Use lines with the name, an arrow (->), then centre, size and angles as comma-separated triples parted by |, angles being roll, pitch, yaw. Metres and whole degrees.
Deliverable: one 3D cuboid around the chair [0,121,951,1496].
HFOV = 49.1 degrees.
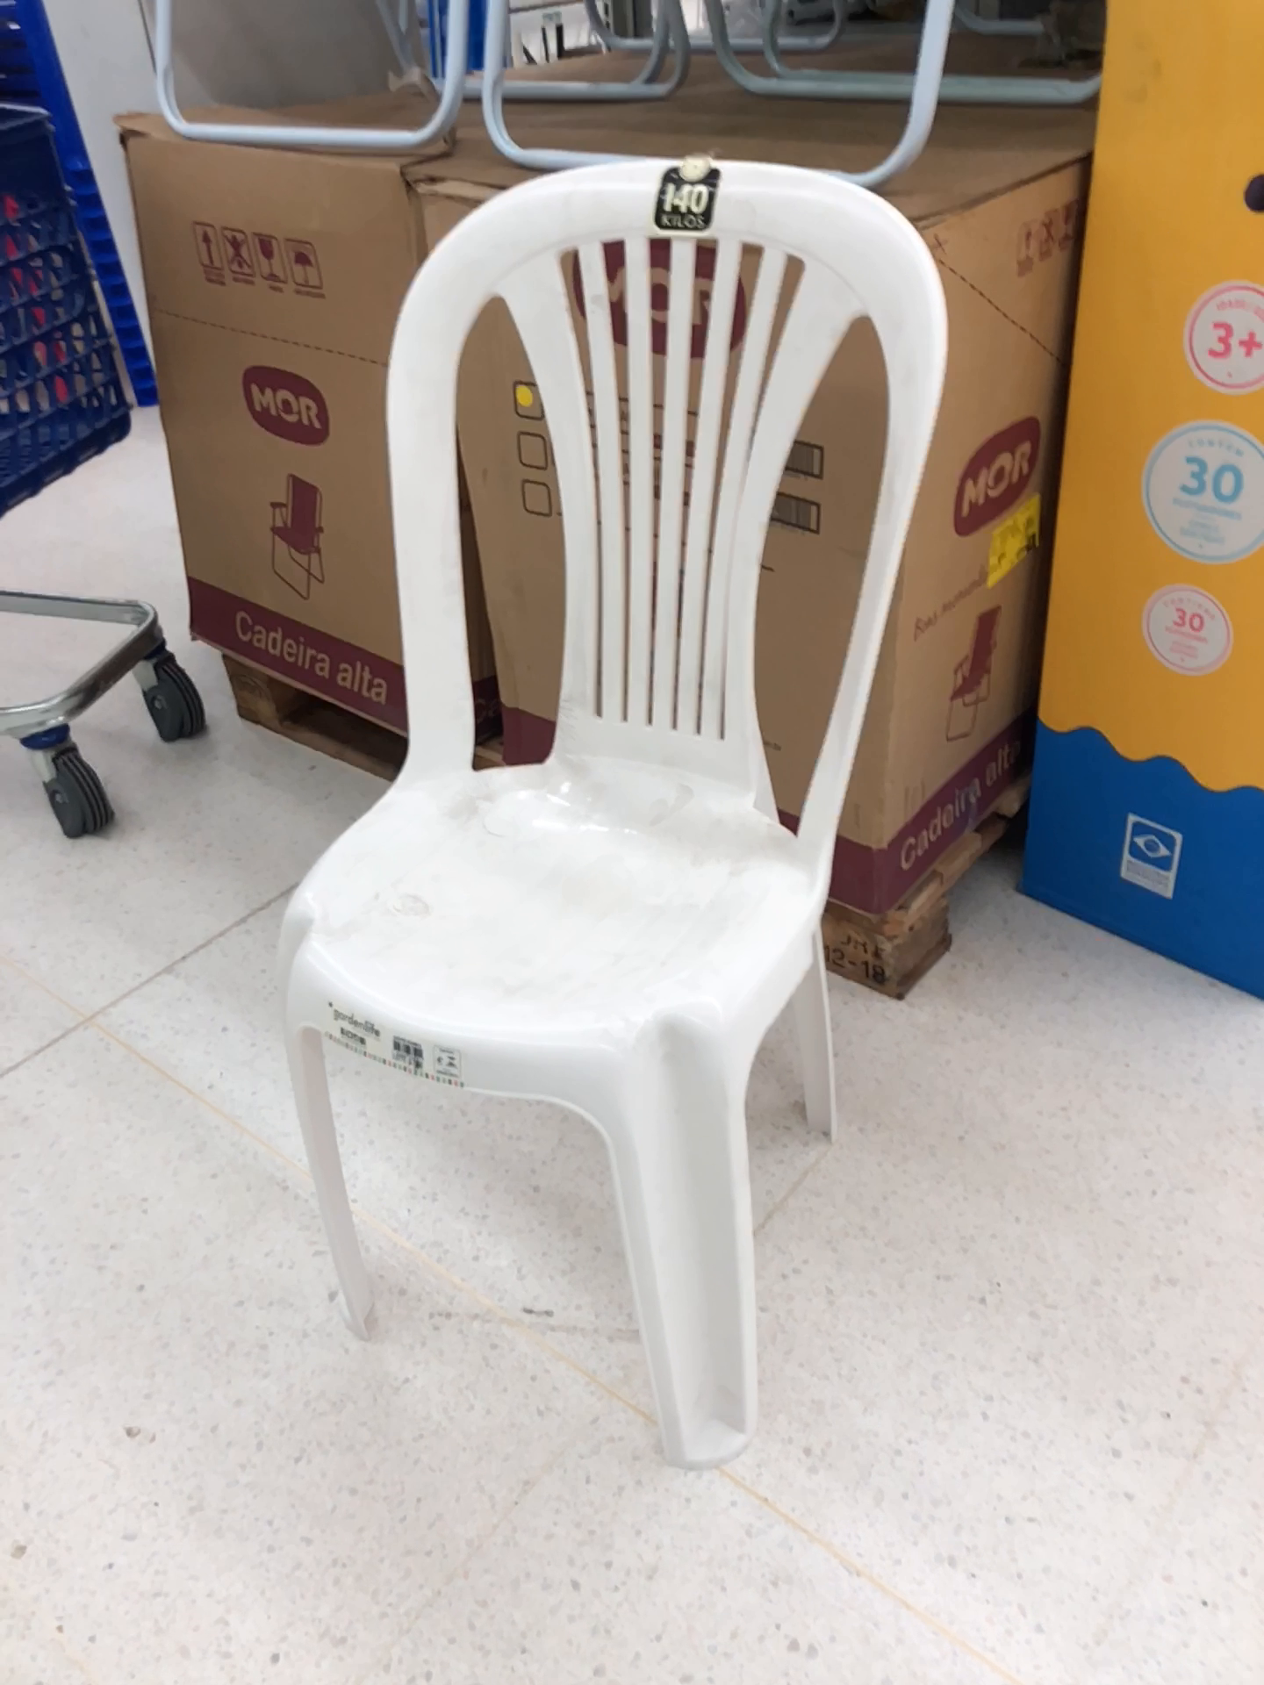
chair -> -0.055, -0.029, 1.032 | 0.440, 0.834, 0.463 | 10, 37, 22
